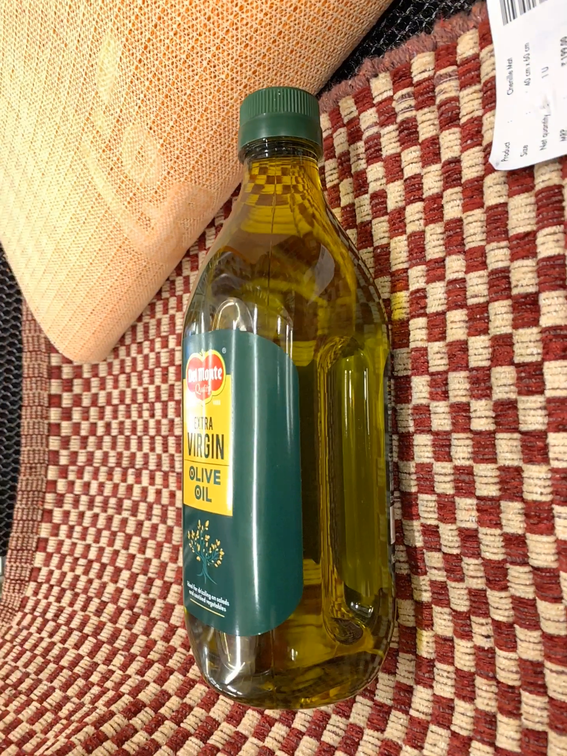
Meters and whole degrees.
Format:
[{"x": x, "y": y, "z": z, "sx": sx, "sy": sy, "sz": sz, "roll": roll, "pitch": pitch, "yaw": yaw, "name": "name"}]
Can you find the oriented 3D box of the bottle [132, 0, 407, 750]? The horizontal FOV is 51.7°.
[{"x": -0.005, "y": -0.002, "z": 0.250, "sx": 0.080, "sy": 0.080, "sz": 0.250, "roll": 0, "pitch": 89, "yaw": 43, "name": "bottle"}]
